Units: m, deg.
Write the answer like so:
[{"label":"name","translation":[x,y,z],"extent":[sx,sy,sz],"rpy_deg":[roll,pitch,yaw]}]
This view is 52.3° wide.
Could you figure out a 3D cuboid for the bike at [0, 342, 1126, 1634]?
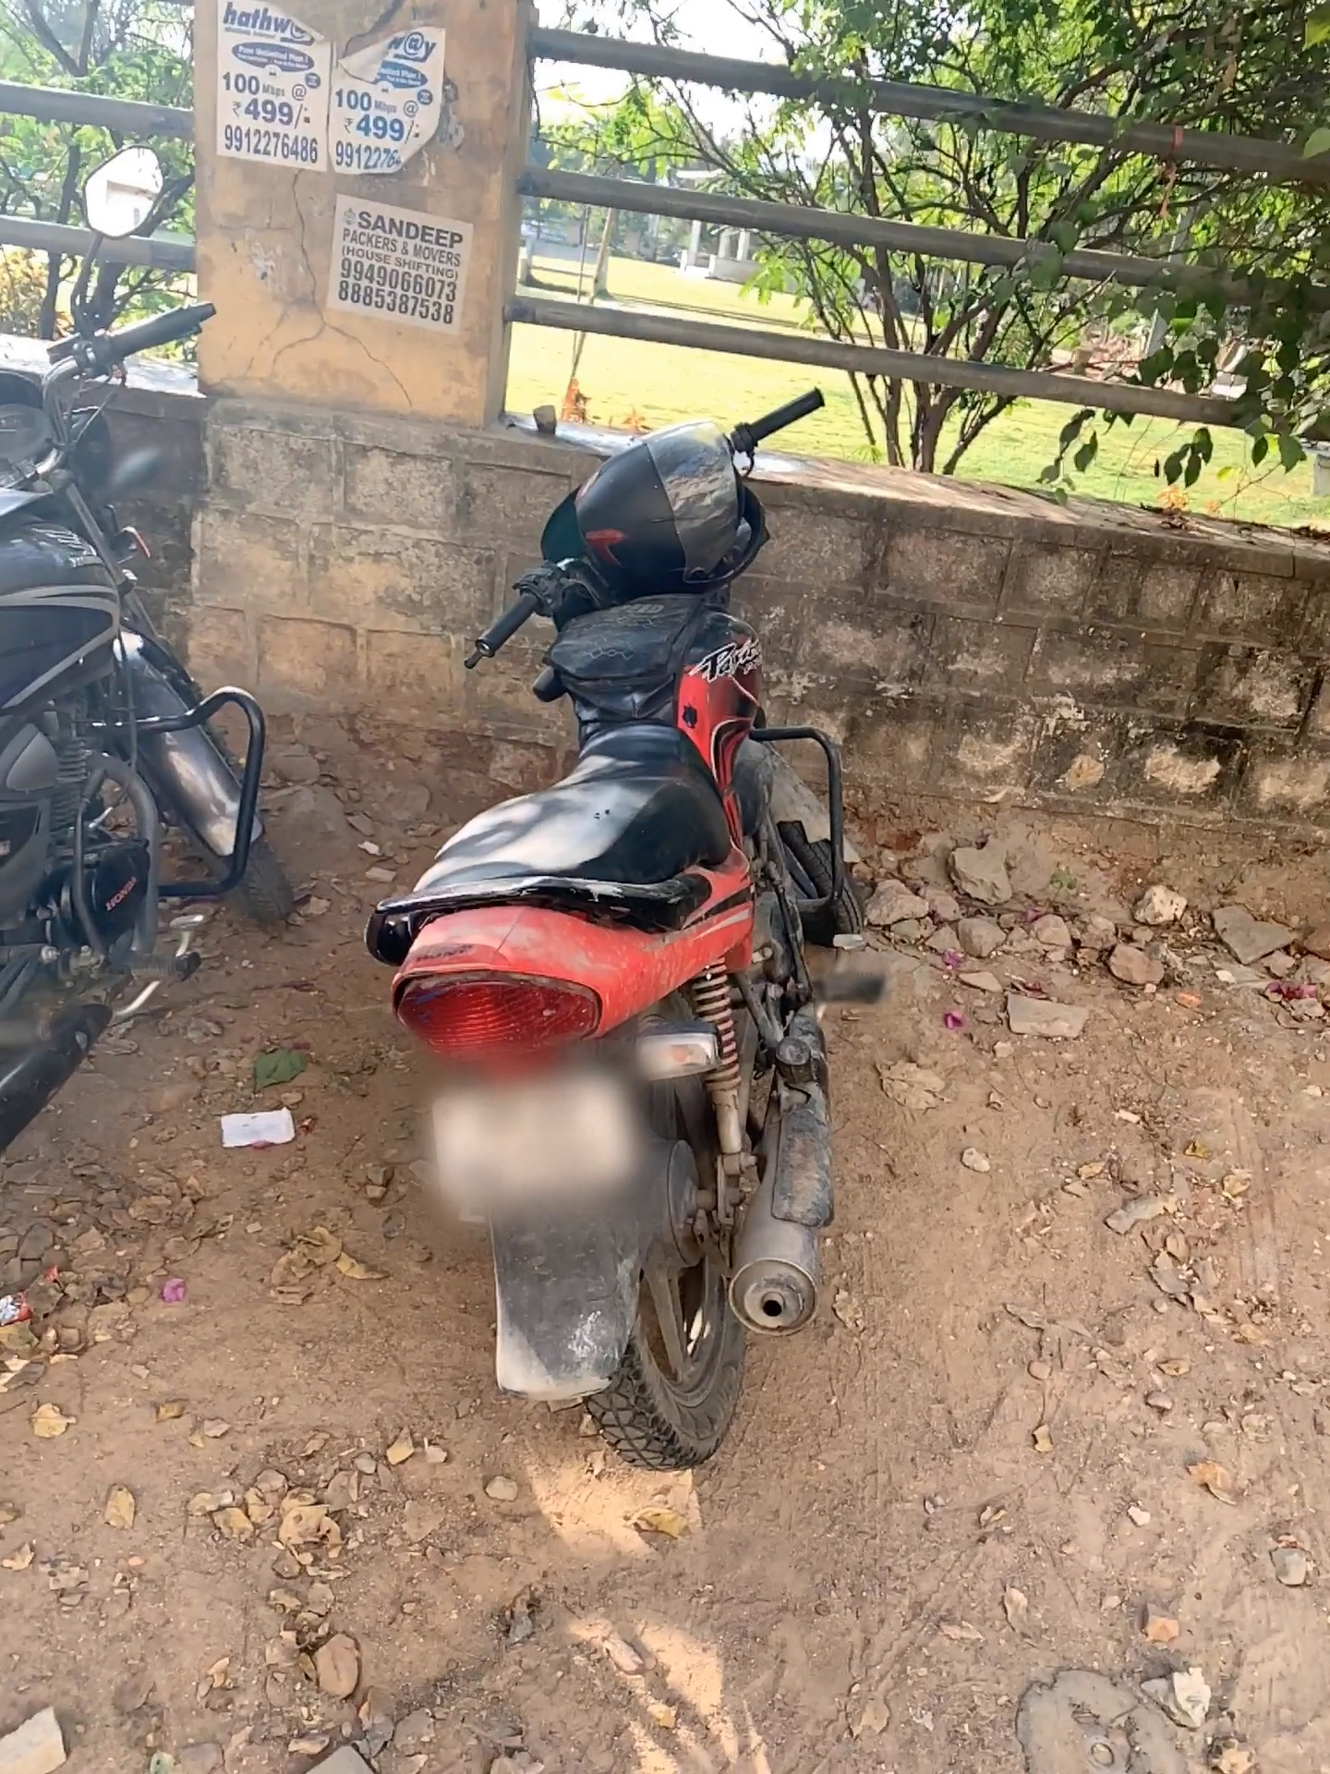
[{"label":"bike","translation":[-0.149,-0.081,2.065],"extent":[1.063,1.245,1.603],"rpy_deg":[10,24,3]}]
